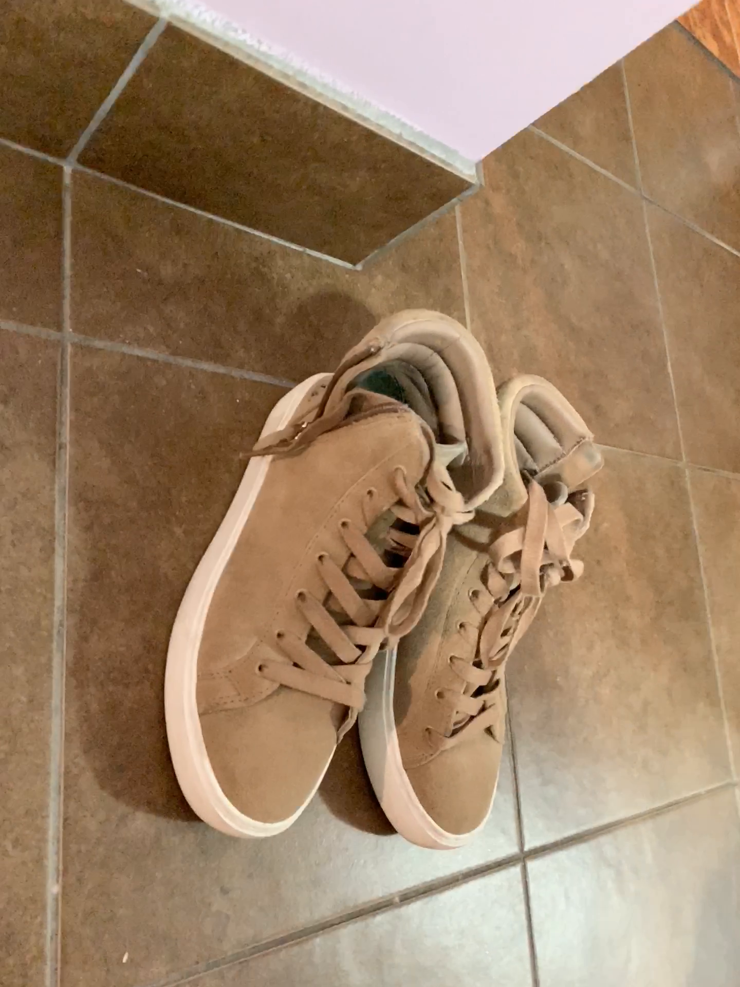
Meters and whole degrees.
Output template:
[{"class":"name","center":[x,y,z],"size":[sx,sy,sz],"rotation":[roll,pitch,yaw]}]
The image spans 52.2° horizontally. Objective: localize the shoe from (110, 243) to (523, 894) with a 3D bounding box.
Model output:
[{"class":"shoe","center":[-0.016,0.036,0.360],"size":[0.106,0.117,0.254],"rotation":[25,63,-34]}]

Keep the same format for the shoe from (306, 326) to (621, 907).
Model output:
[{"class":"shoe","center":[0.048,0.065,0.433],"size":[0.113,0.119,0.270],"rotation":[13,70,-38]}]
